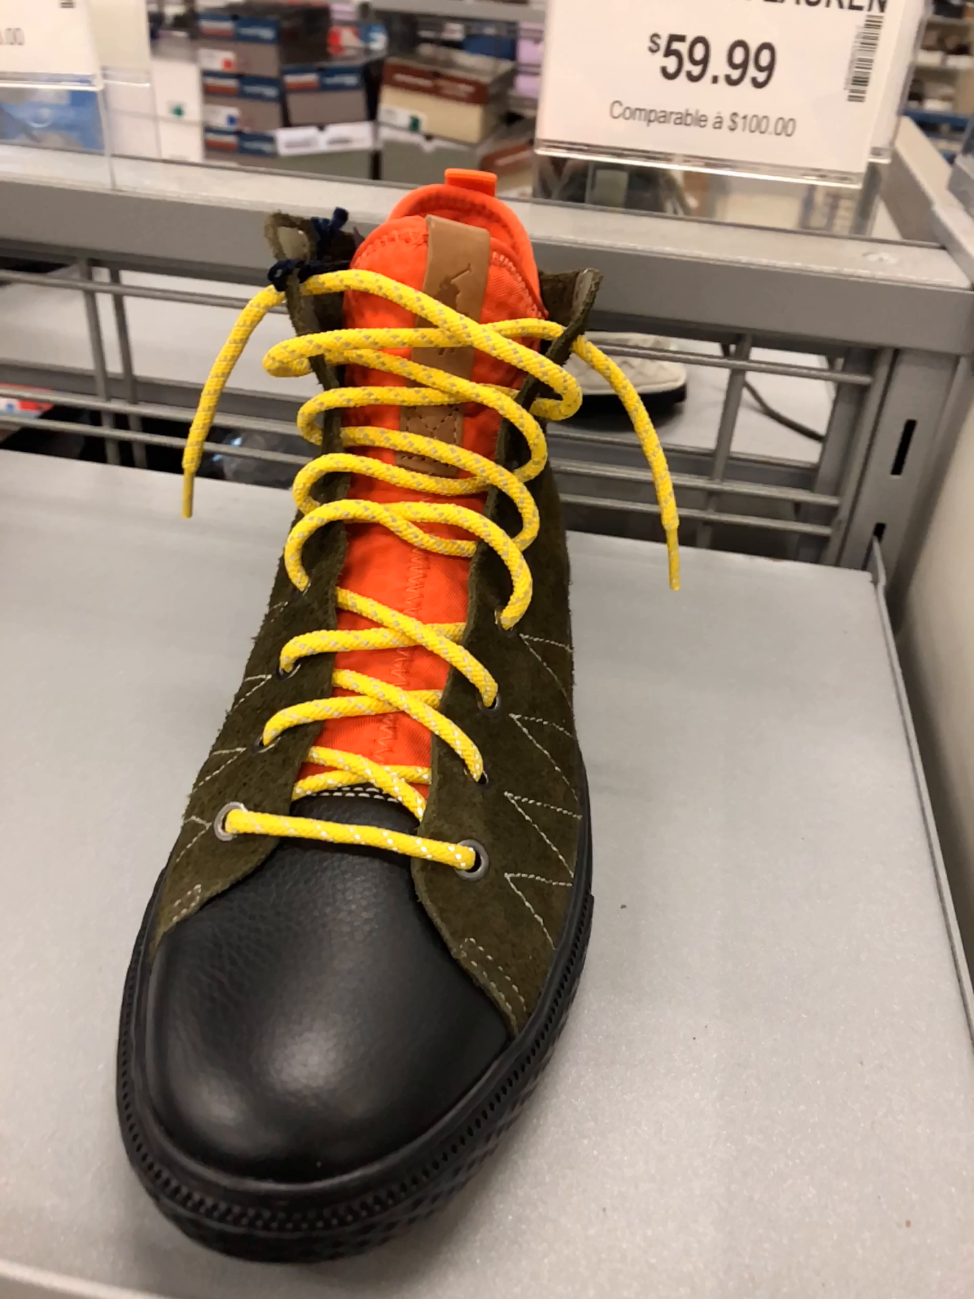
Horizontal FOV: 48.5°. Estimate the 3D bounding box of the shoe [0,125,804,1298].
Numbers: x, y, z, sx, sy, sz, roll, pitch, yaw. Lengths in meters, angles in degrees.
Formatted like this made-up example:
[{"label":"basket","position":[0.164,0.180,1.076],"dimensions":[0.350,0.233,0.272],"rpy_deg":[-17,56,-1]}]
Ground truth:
[{"label":"shoe","position":[-0.015,-0.023,0.302],"dimensions":[0.125,0.171,0.300],"rpy_deg":[7,35,3]}]
